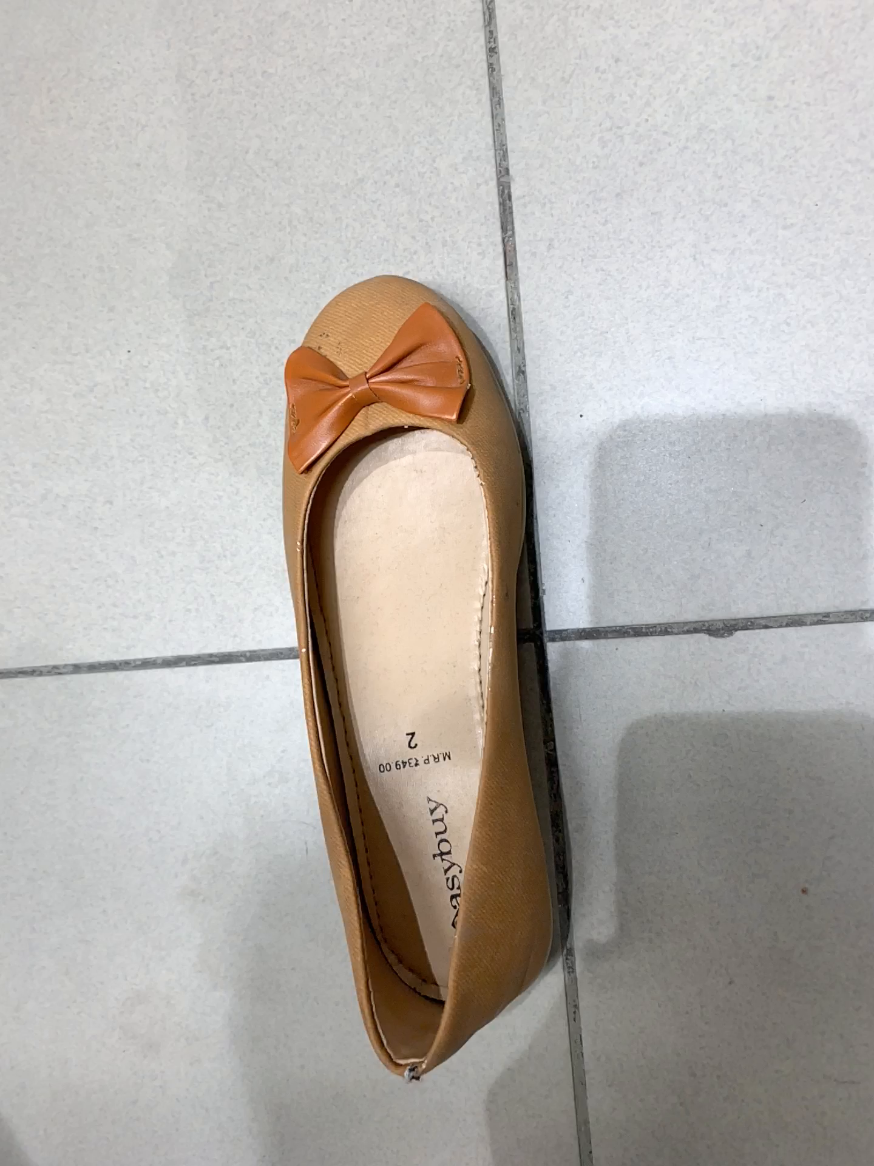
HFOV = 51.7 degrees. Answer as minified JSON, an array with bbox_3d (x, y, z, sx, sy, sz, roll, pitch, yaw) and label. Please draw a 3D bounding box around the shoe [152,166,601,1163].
[{"bbox_3d":[-0.012,0.020,0.244,0.080,0.070,0.220,-7,87,18],"label":"shoe"}]
